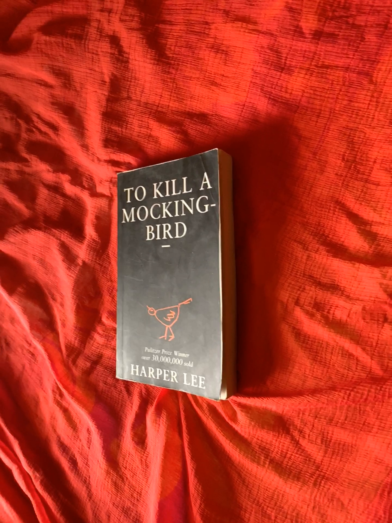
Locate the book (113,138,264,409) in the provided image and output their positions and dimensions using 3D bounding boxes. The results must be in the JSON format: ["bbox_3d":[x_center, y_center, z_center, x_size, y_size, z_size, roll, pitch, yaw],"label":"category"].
[{"bbox_3d":[-0.009,0.009,0.316,0.110,0.040,0.180,-3,88,34],"label":"book"}]
